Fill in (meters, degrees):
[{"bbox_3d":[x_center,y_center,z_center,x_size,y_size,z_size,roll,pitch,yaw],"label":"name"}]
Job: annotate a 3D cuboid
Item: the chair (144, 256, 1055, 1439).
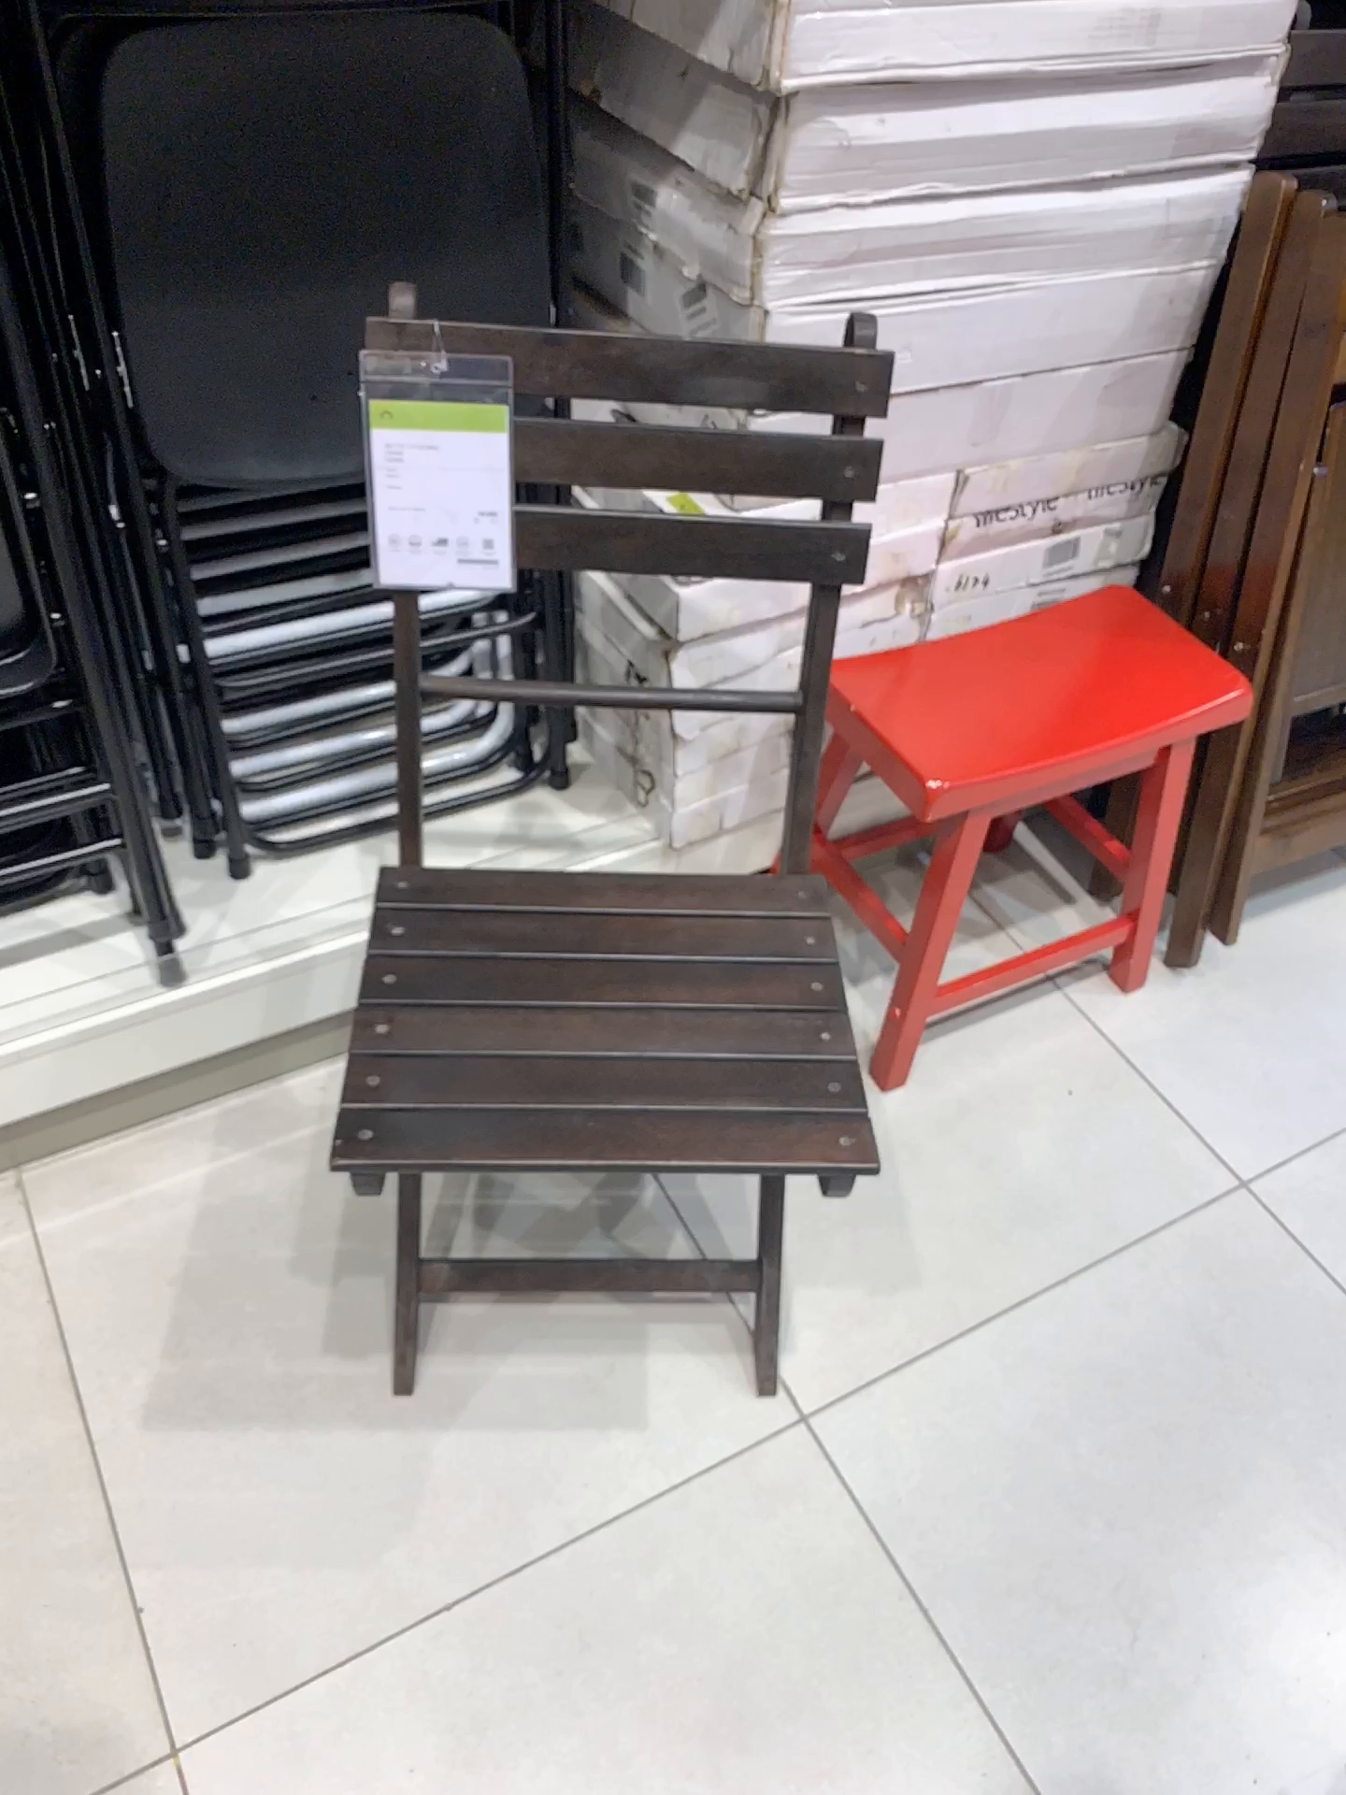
[{"bbox_3d":[-0.069,0.013,1.086,0.420,0.797,0.482,2,44,-5],"label":"chair"}]
